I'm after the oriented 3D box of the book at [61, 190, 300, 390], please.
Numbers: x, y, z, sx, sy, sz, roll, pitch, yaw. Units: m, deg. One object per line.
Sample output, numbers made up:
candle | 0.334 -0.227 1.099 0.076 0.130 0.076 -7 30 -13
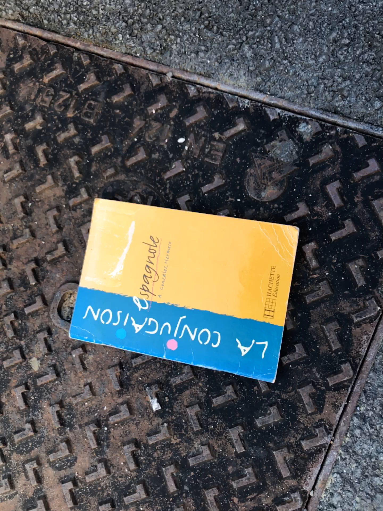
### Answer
book | -0.012 0.024 0.372 0.187 0.017 0.140 9 85 13
